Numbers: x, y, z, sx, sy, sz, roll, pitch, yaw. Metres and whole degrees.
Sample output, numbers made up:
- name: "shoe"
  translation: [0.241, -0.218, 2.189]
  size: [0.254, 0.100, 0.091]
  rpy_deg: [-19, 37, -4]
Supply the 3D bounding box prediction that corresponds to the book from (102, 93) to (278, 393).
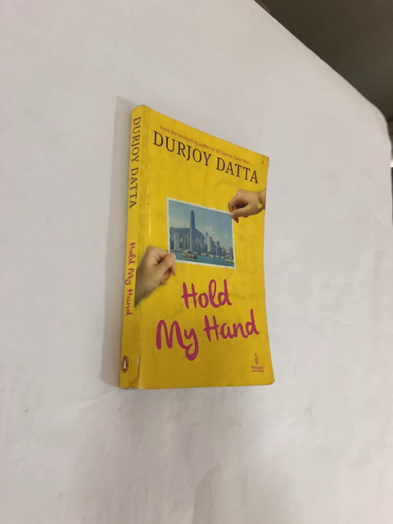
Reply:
- name: "book"
  translation: [0.003, -0.007, 0.319]
  size: [0.141, 0.020, 0.190]
  rpy_deg: [11, 73, -40]
